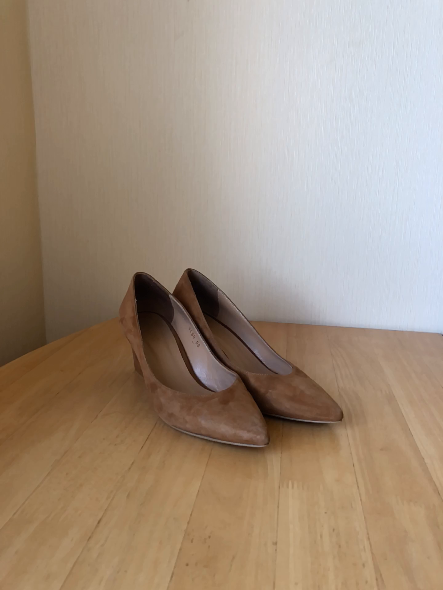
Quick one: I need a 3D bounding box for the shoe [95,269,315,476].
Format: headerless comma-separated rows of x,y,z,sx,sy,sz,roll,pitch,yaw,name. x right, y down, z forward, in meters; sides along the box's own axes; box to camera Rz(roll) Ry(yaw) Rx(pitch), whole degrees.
-0.034,0.053,0.483,0.089,0.110,0.250,-8,17,-34,shoe

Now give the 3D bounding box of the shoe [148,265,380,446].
0.028,0.046,0.535,0.089,0.110,0.260,-10,18,-39,shoe
